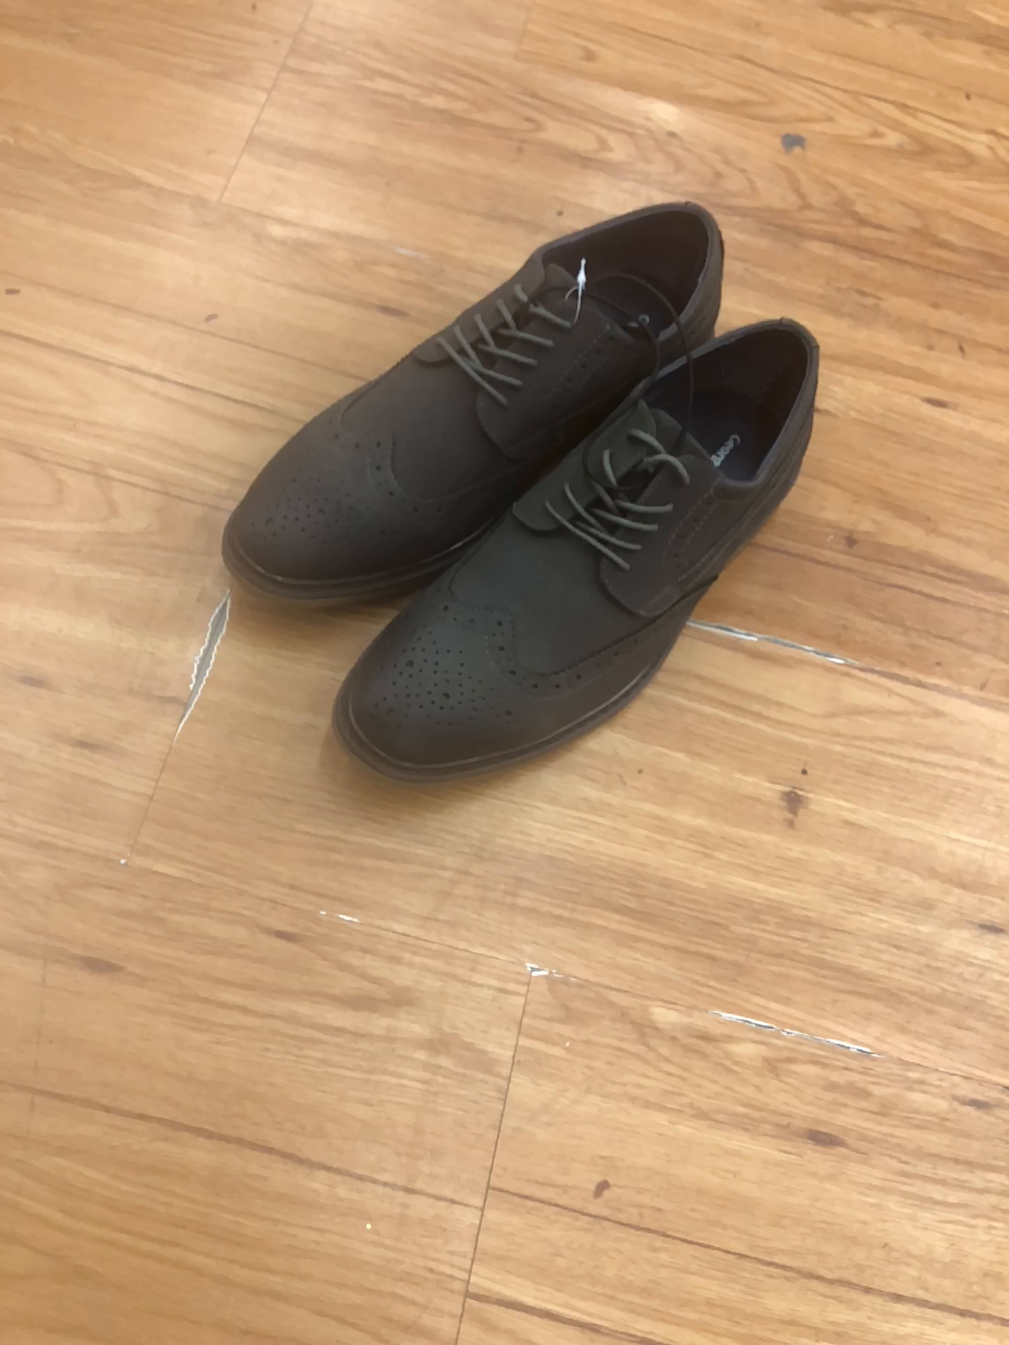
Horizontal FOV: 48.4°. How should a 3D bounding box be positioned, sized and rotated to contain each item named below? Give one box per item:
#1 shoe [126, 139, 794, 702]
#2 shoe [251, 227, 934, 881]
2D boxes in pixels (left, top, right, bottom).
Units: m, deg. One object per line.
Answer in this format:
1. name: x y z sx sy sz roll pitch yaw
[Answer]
1. shoe: -0.016 -0.123 0.531 0.280 0.110 0.110 -34 75 -22
2. shoe: 0.040 -0.057 0.487 0.280 0.110 0.110 -40 77 -23
